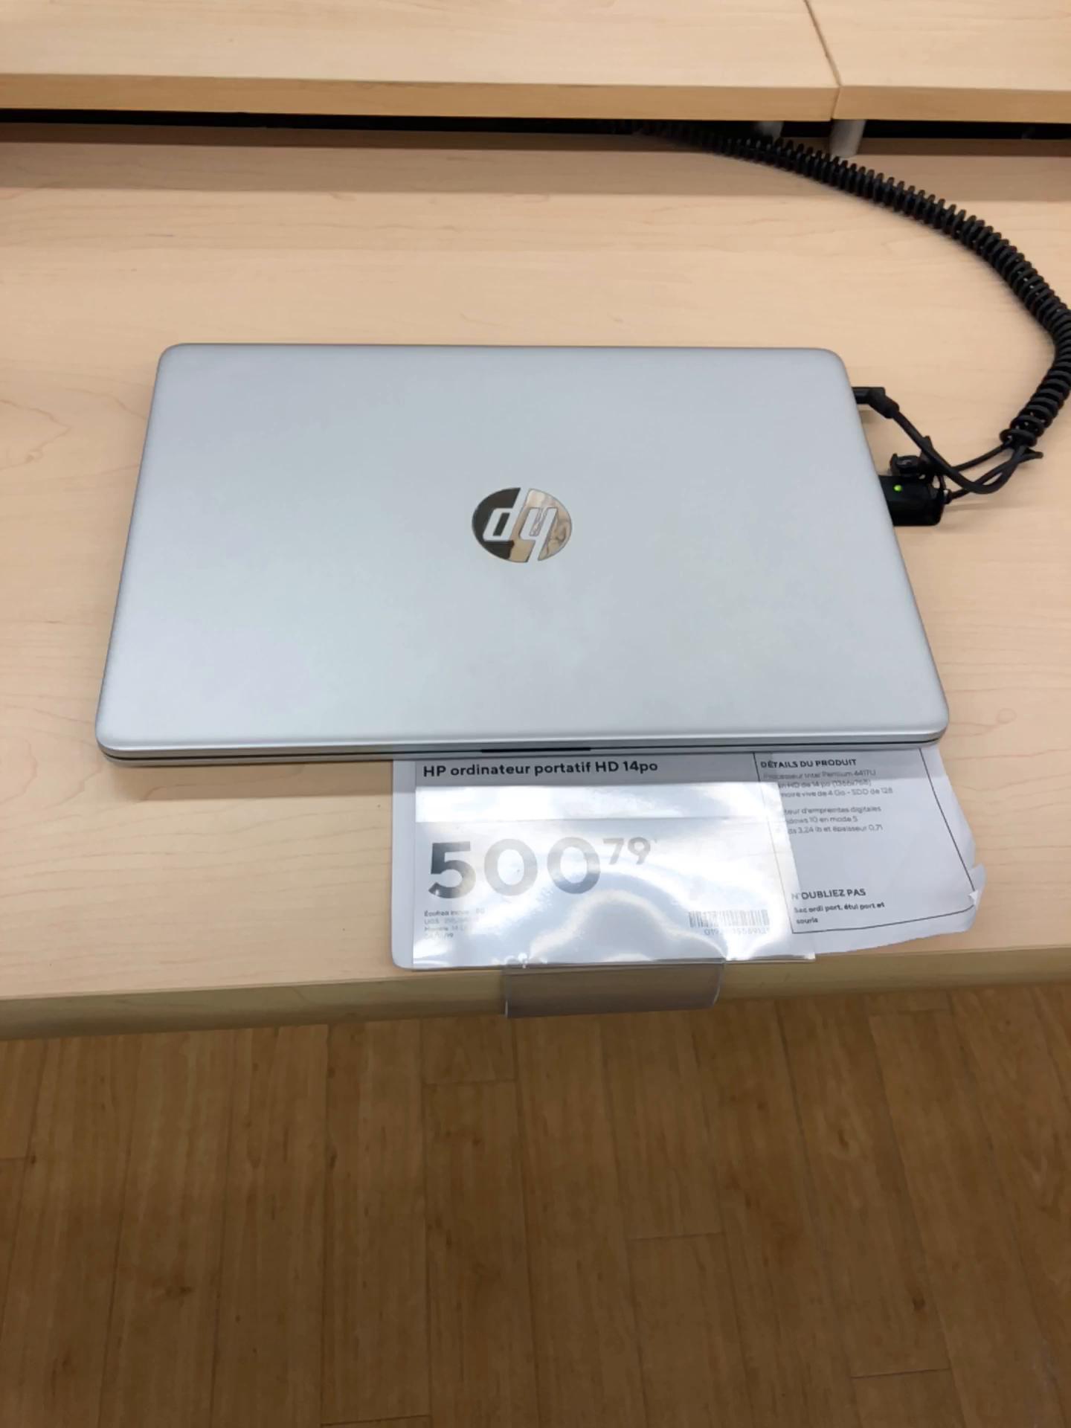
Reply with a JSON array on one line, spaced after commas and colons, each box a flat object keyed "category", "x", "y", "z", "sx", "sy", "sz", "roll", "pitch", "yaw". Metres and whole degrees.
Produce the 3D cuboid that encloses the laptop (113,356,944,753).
[{"category": "laptop", "x": -0.003, "y": -0.078, "z": 0.494, "sx": 0.309, "sy": 0.004, "sz": 0.205, "roll": -1, "pitch": 57, "yaw": -7}]
